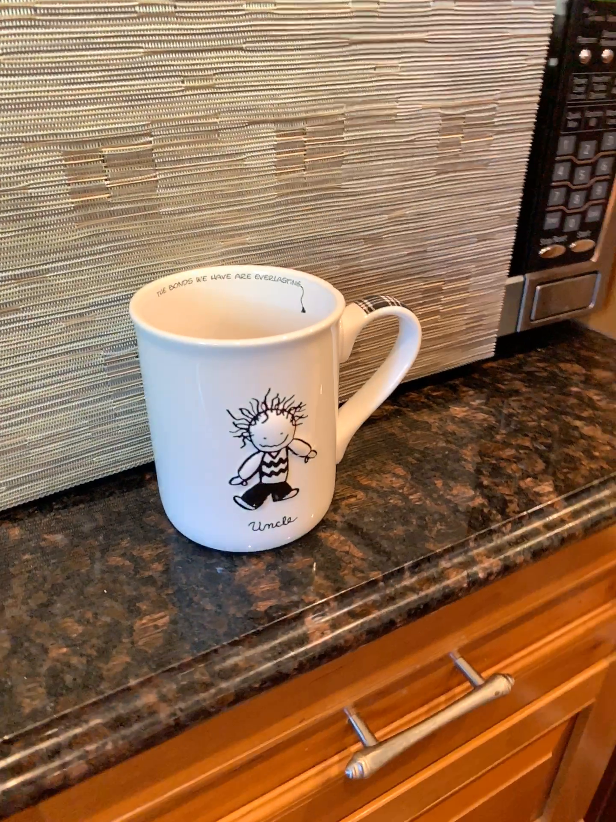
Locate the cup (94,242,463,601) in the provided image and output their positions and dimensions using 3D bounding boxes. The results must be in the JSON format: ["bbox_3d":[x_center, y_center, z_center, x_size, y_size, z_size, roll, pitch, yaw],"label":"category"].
[{"bbox_3d":[-0.018,-0.005,0.299,0.130,0.109,0.100,-12,32,-20],"label":"cup"}]
